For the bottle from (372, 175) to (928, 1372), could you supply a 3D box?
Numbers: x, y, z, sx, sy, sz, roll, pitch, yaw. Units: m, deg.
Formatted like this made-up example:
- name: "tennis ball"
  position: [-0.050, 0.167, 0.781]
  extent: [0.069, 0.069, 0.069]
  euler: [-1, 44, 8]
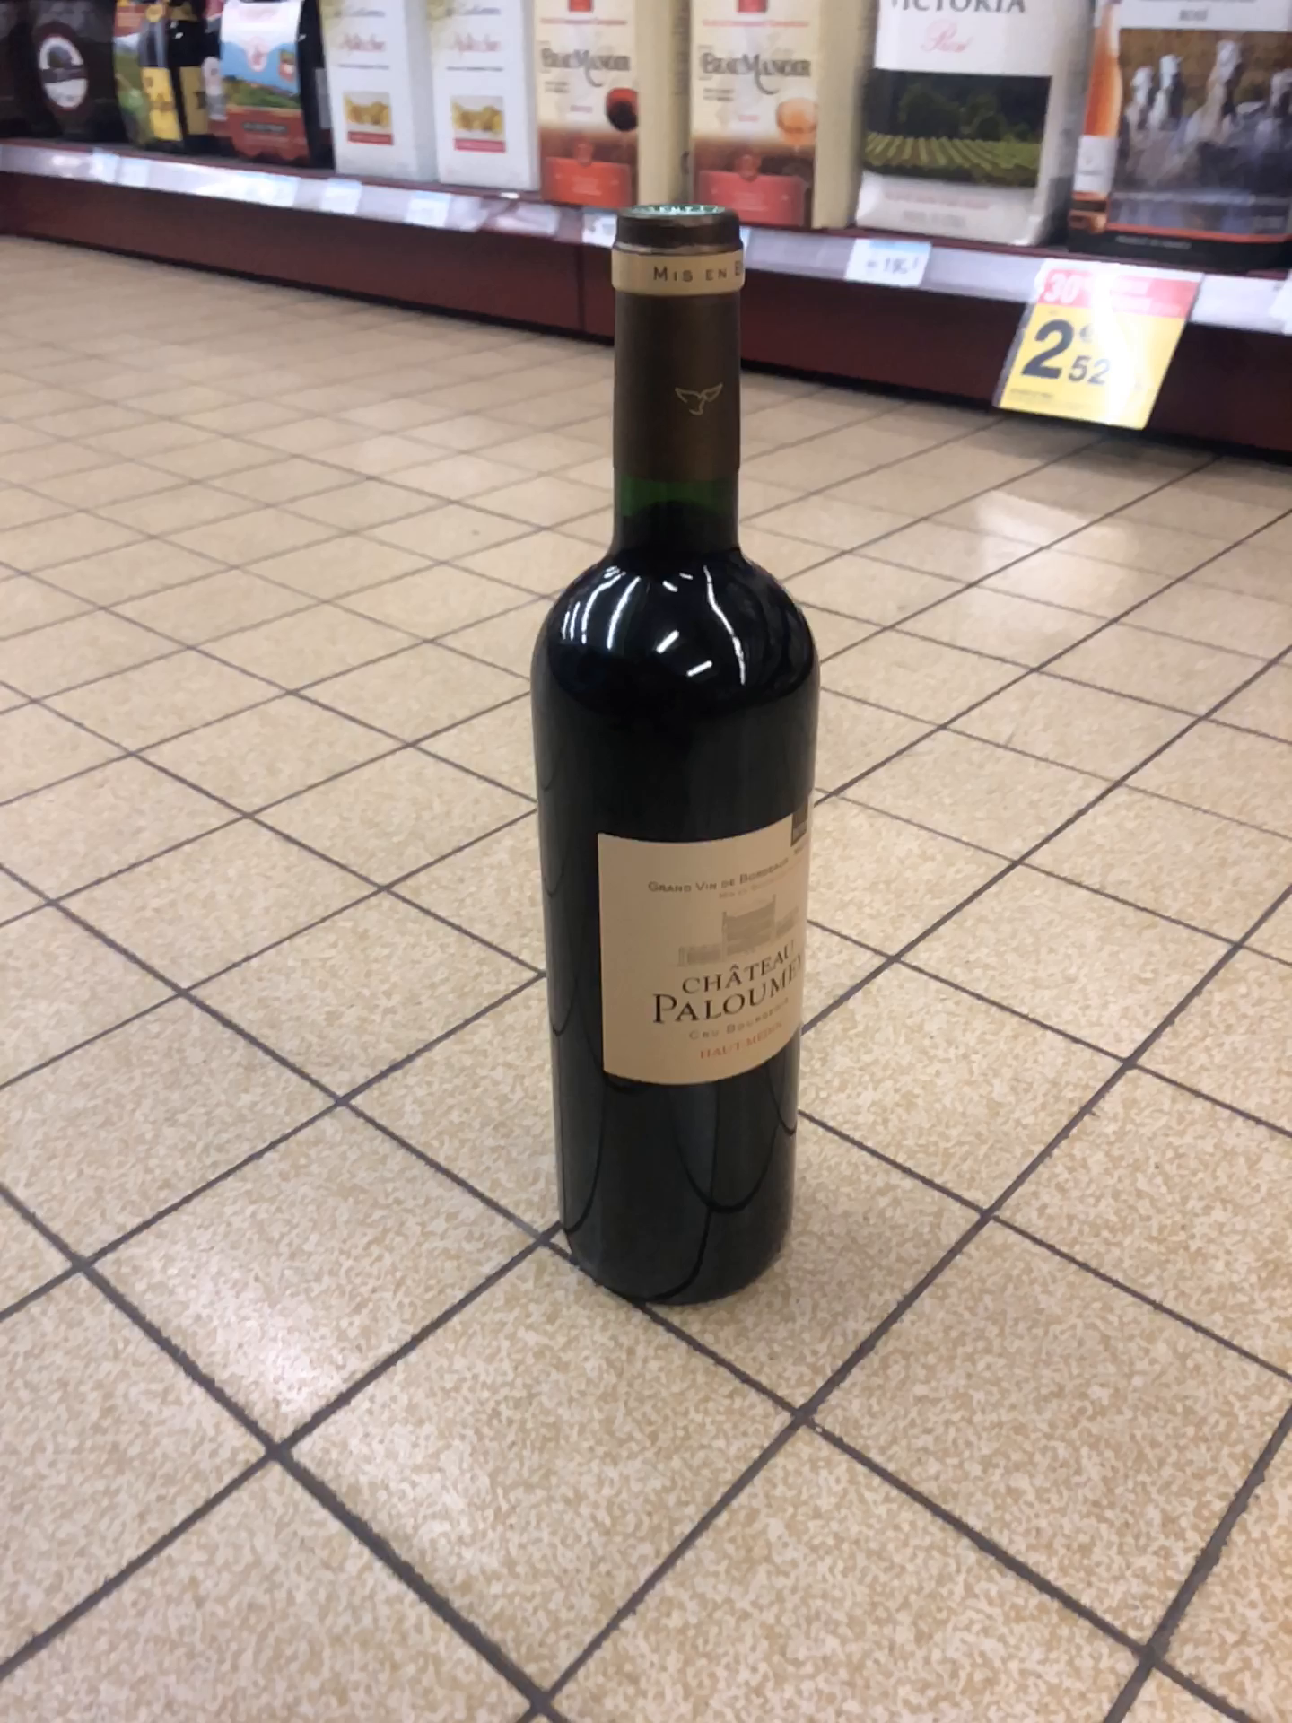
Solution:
- name: "bottle"
  position: [-0.001, -0.015, 0.372]
  extent: [0.080, 0.288, 0.090]
  euler: [-19, 35, -30]
